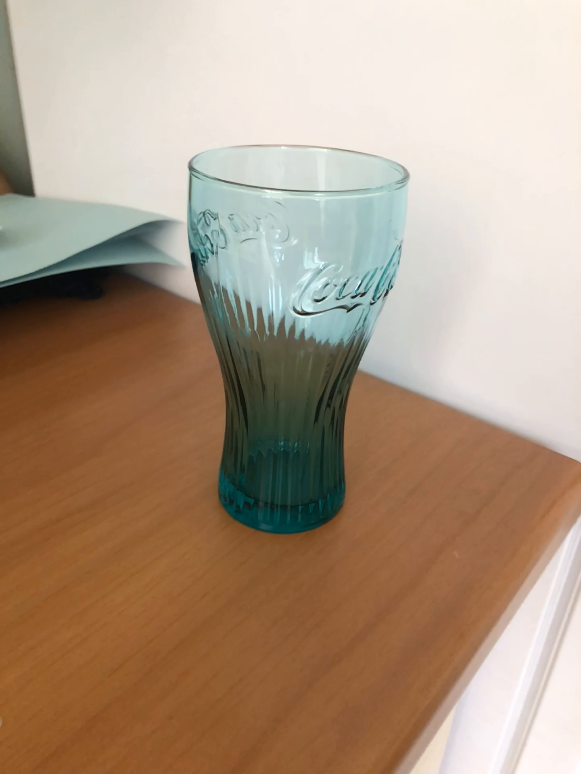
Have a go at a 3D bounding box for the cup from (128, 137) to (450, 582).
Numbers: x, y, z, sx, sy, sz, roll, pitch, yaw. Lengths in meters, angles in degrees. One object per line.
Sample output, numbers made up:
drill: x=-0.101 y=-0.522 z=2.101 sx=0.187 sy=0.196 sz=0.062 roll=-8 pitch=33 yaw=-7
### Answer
cup: x=-0.001 y=-0.016 z=0.255 sx=0.080 sy=0.139 sz=0.081 roll=3 pitch=29 yaw=-1
